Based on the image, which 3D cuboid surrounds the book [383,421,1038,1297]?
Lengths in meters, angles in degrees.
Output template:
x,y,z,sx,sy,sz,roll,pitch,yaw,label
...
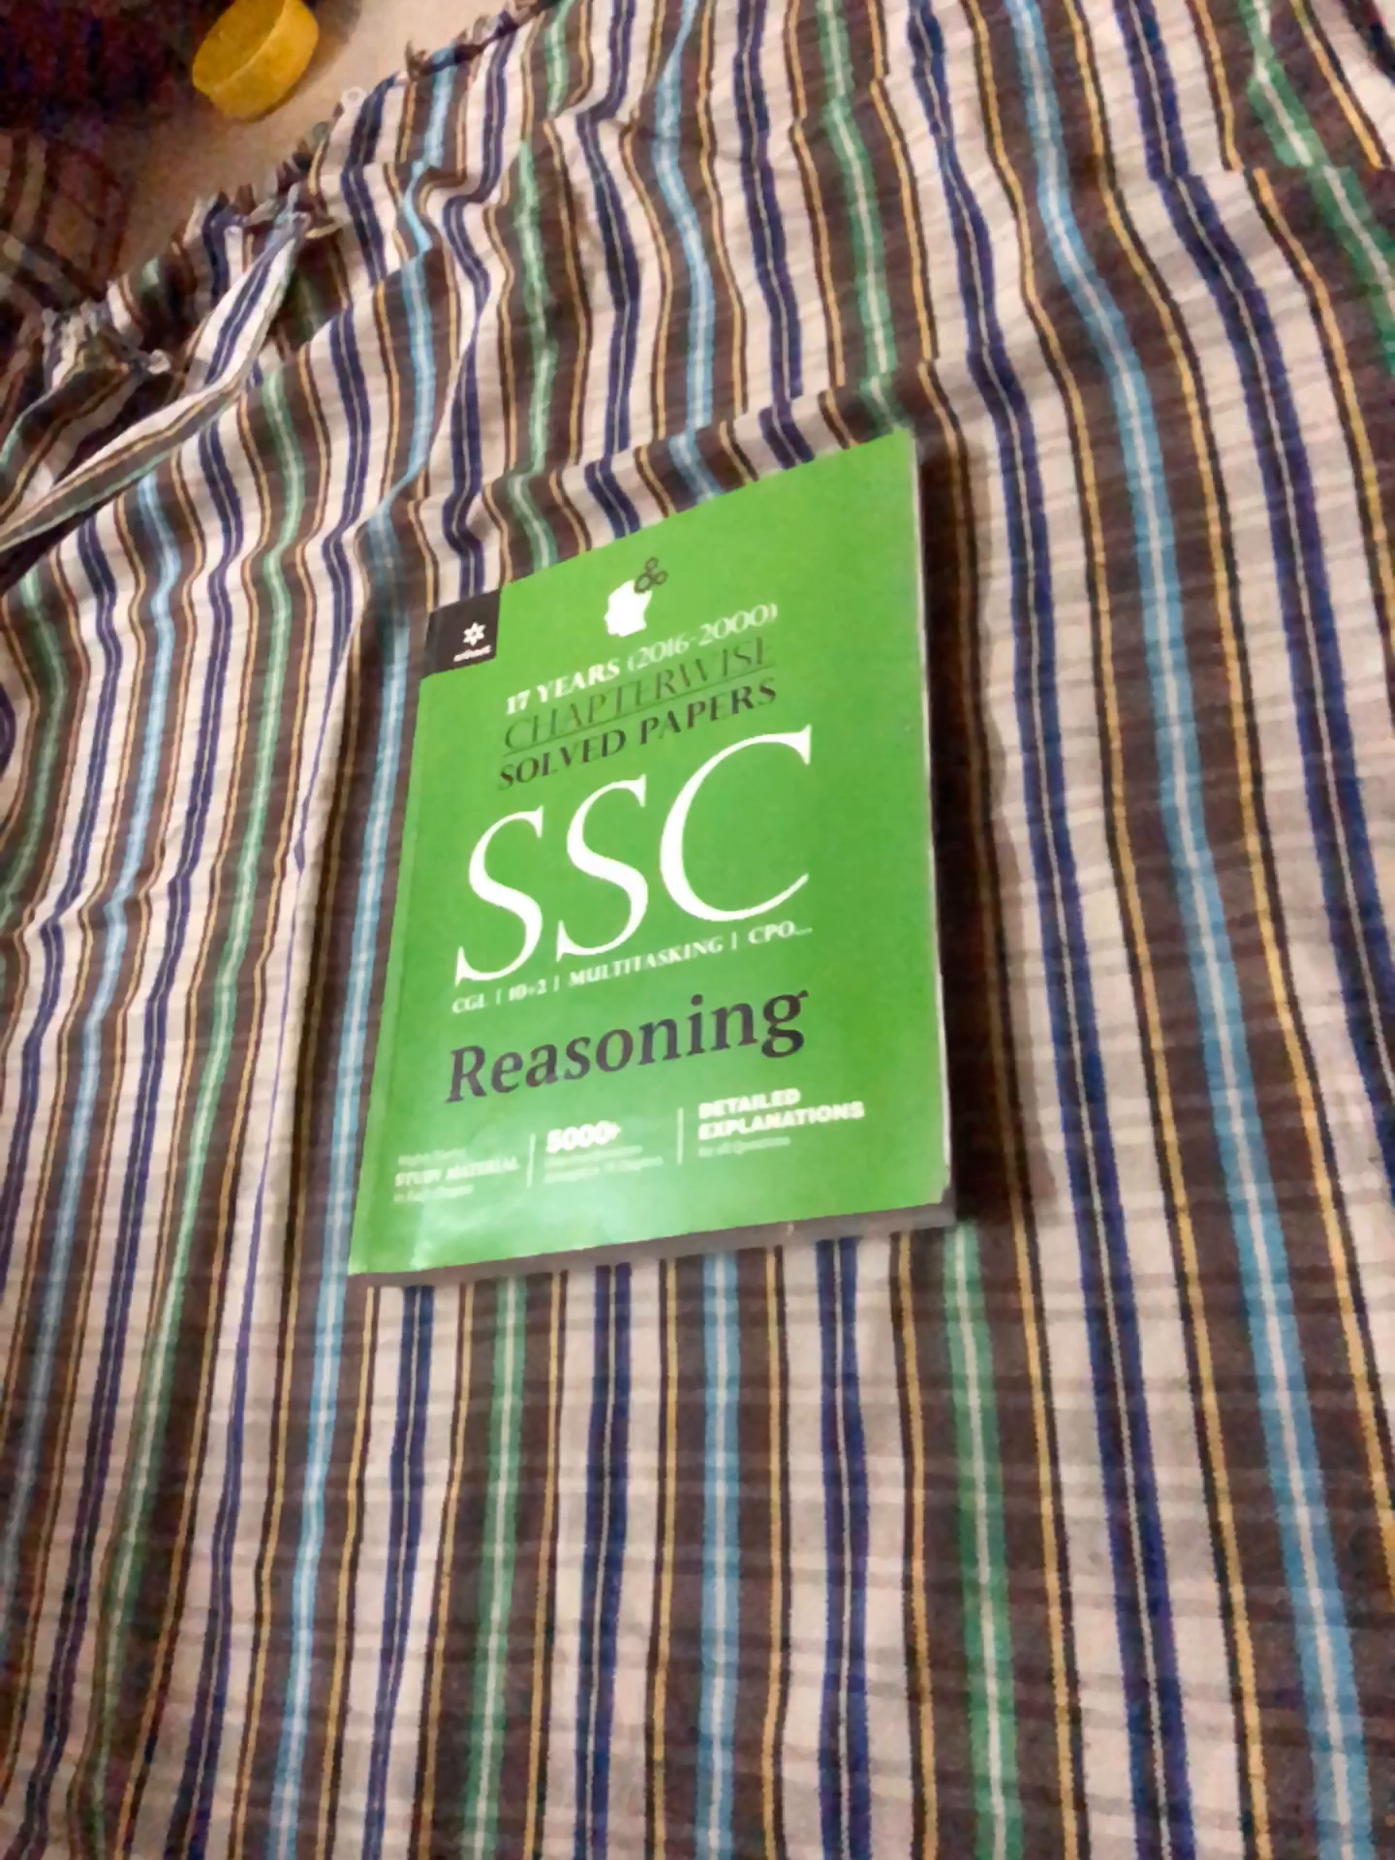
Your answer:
x,y,z,sx,sy,sz,roll,pitch,yaw,label
0.001,-0.022,0.531,0.210,0.040,0.270,-13,61,29,book
